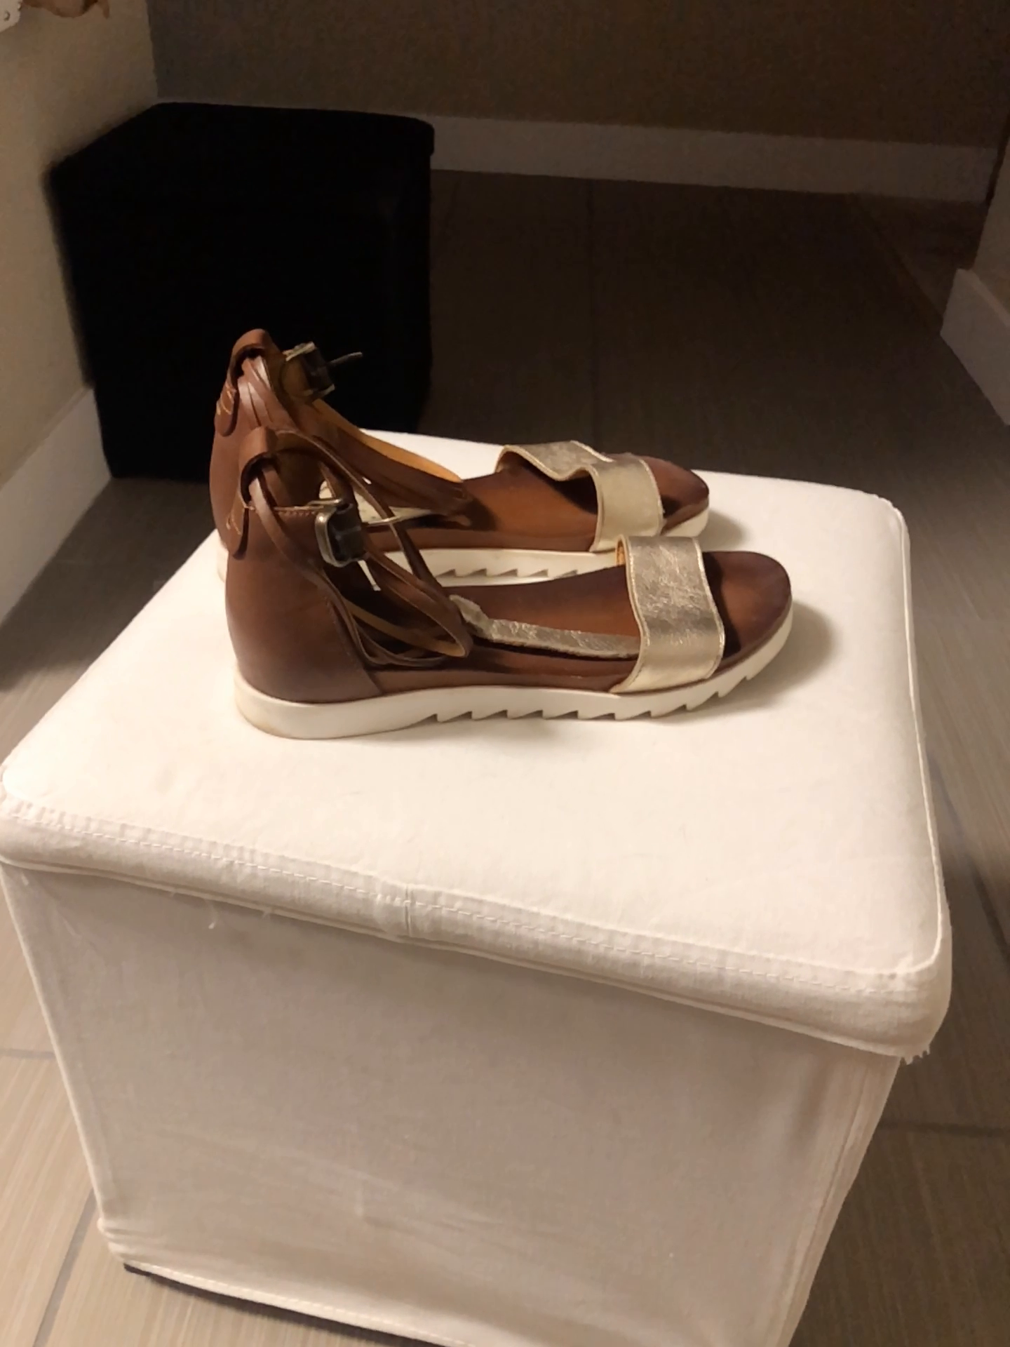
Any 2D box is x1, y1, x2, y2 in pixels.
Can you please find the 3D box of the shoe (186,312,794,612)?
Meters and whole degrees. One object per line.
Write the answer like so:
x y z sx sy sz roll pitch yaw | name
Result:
-0.013 -0.107 0.539 0.260 0.090 0.111 -5 37 -12 | shoe

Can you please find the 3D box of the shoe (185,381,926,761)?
0.012 -0.048 0.449 0.260 0.090 0.111 -5 37 -12 | shoe
